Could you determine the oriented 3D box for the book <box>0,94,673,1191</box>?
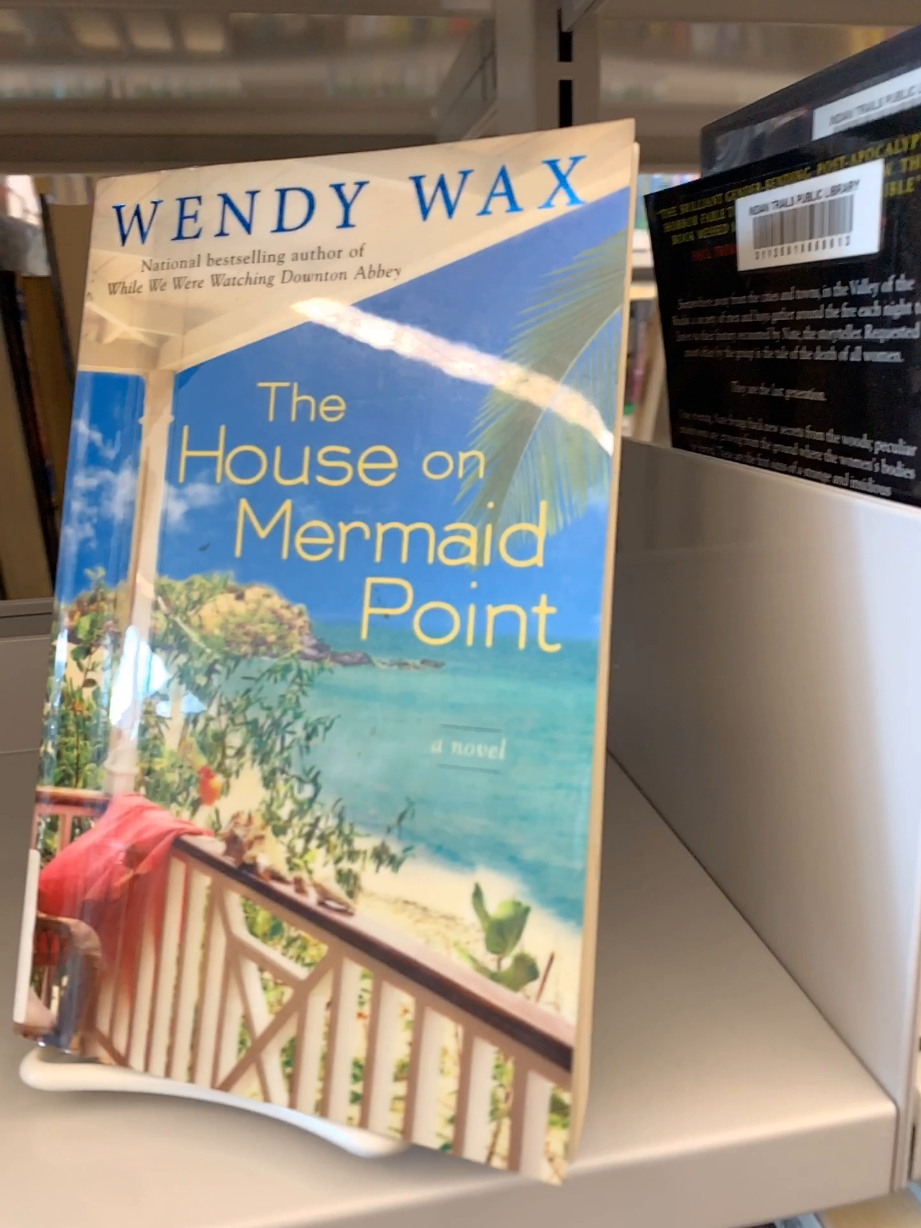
[{"bbox_3d":[-0.027,0.000,0.210,0.131,0.193,0.043,3,-4,20],"label":"book"}]
